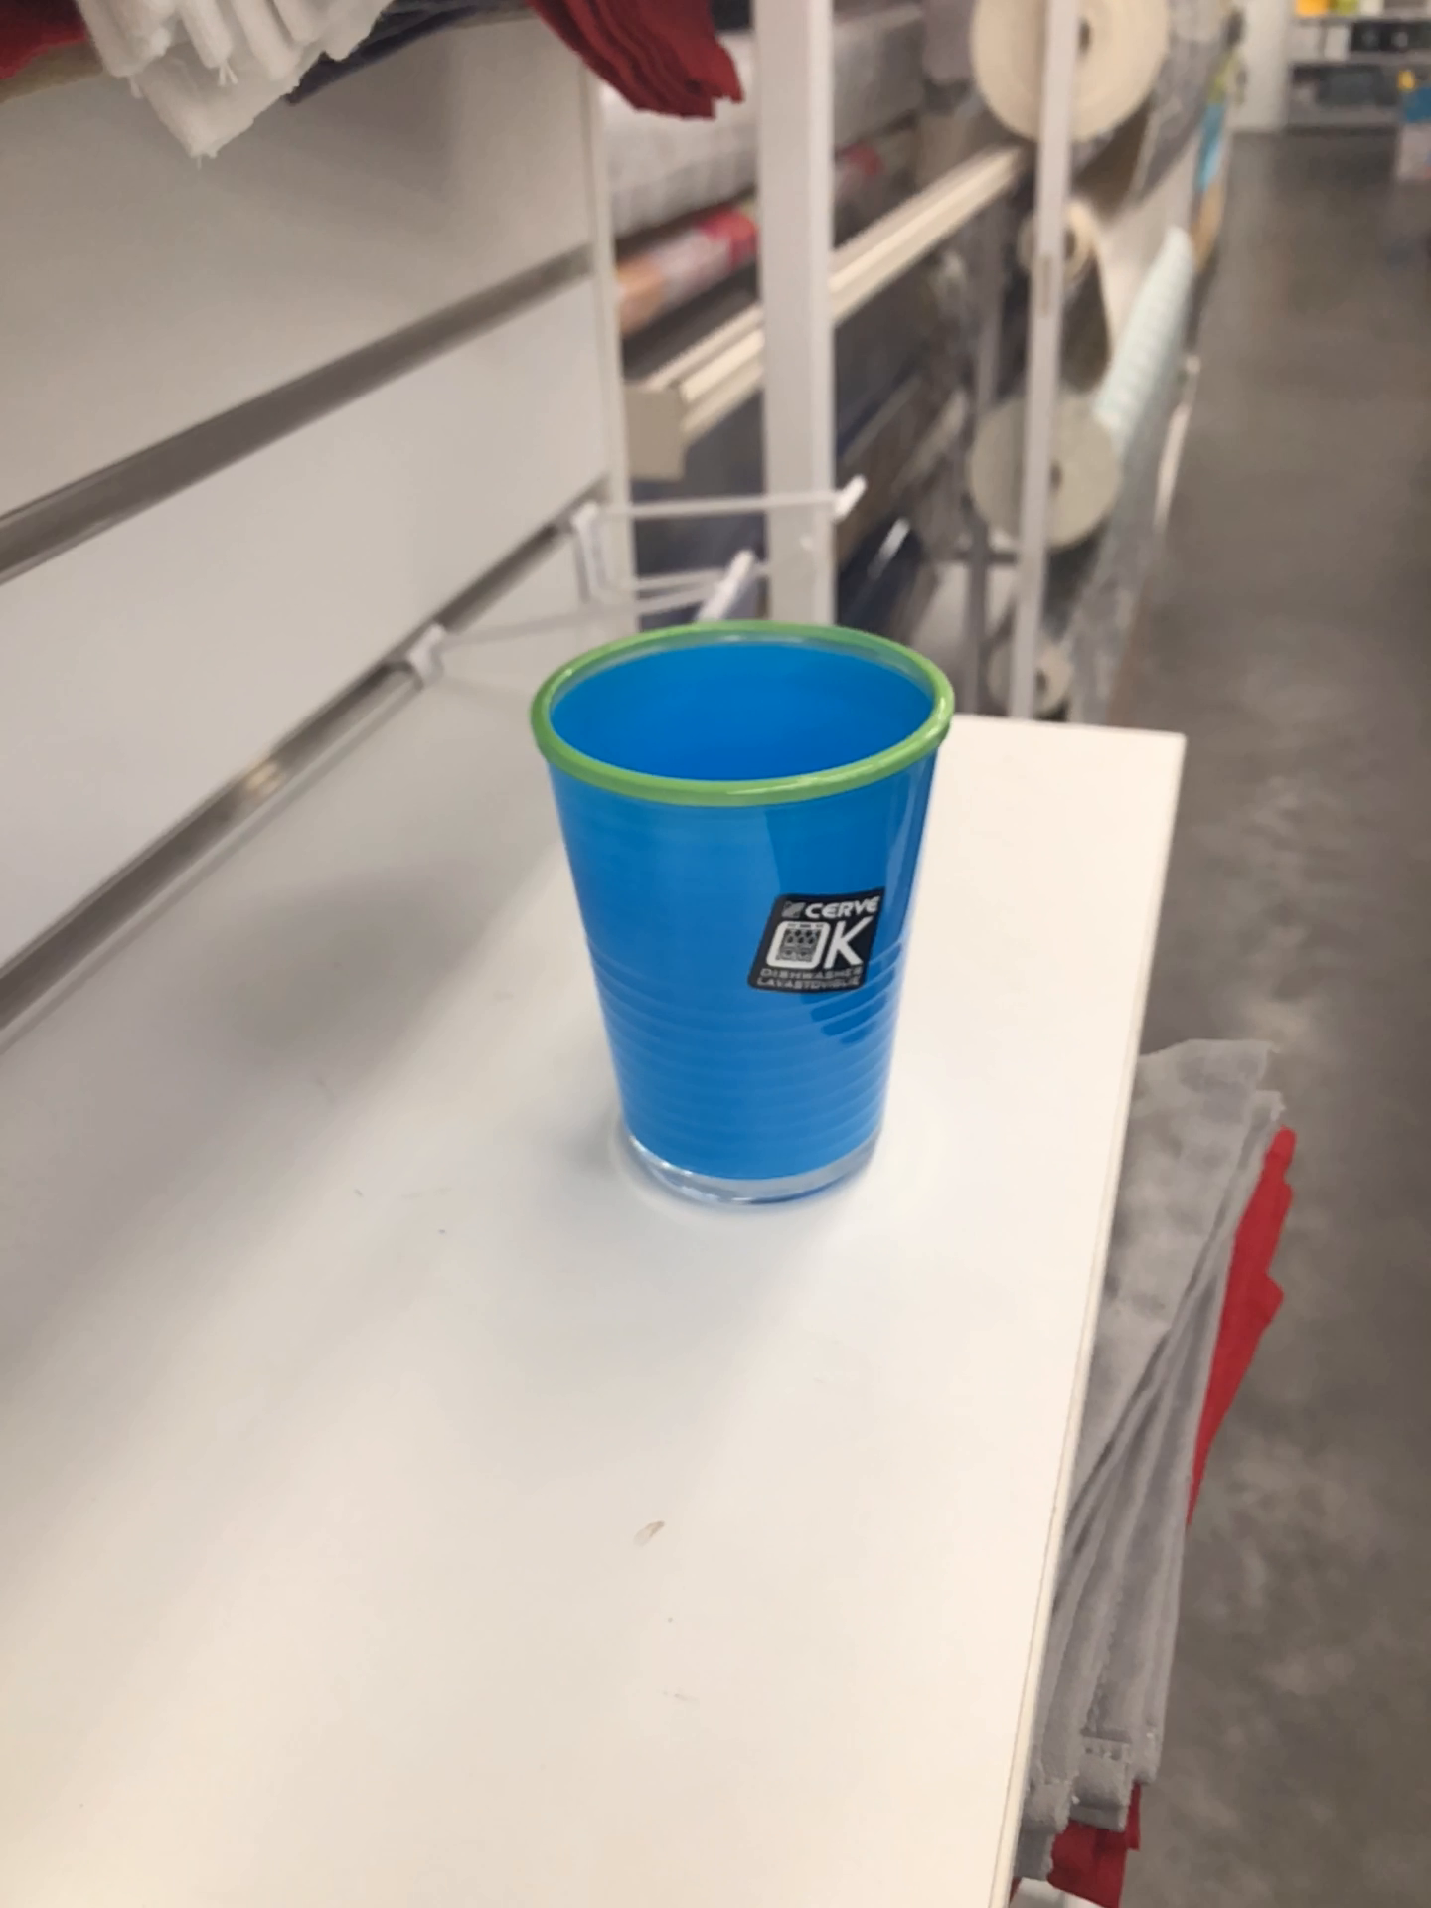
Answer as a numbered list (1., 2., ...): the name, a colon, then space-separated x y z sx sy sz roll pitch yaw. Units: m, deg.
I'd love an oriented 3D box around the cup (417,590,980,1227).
1. cup: 0.002 -0.013 0.322 0.083 0.090 0.081 -2 32 1
